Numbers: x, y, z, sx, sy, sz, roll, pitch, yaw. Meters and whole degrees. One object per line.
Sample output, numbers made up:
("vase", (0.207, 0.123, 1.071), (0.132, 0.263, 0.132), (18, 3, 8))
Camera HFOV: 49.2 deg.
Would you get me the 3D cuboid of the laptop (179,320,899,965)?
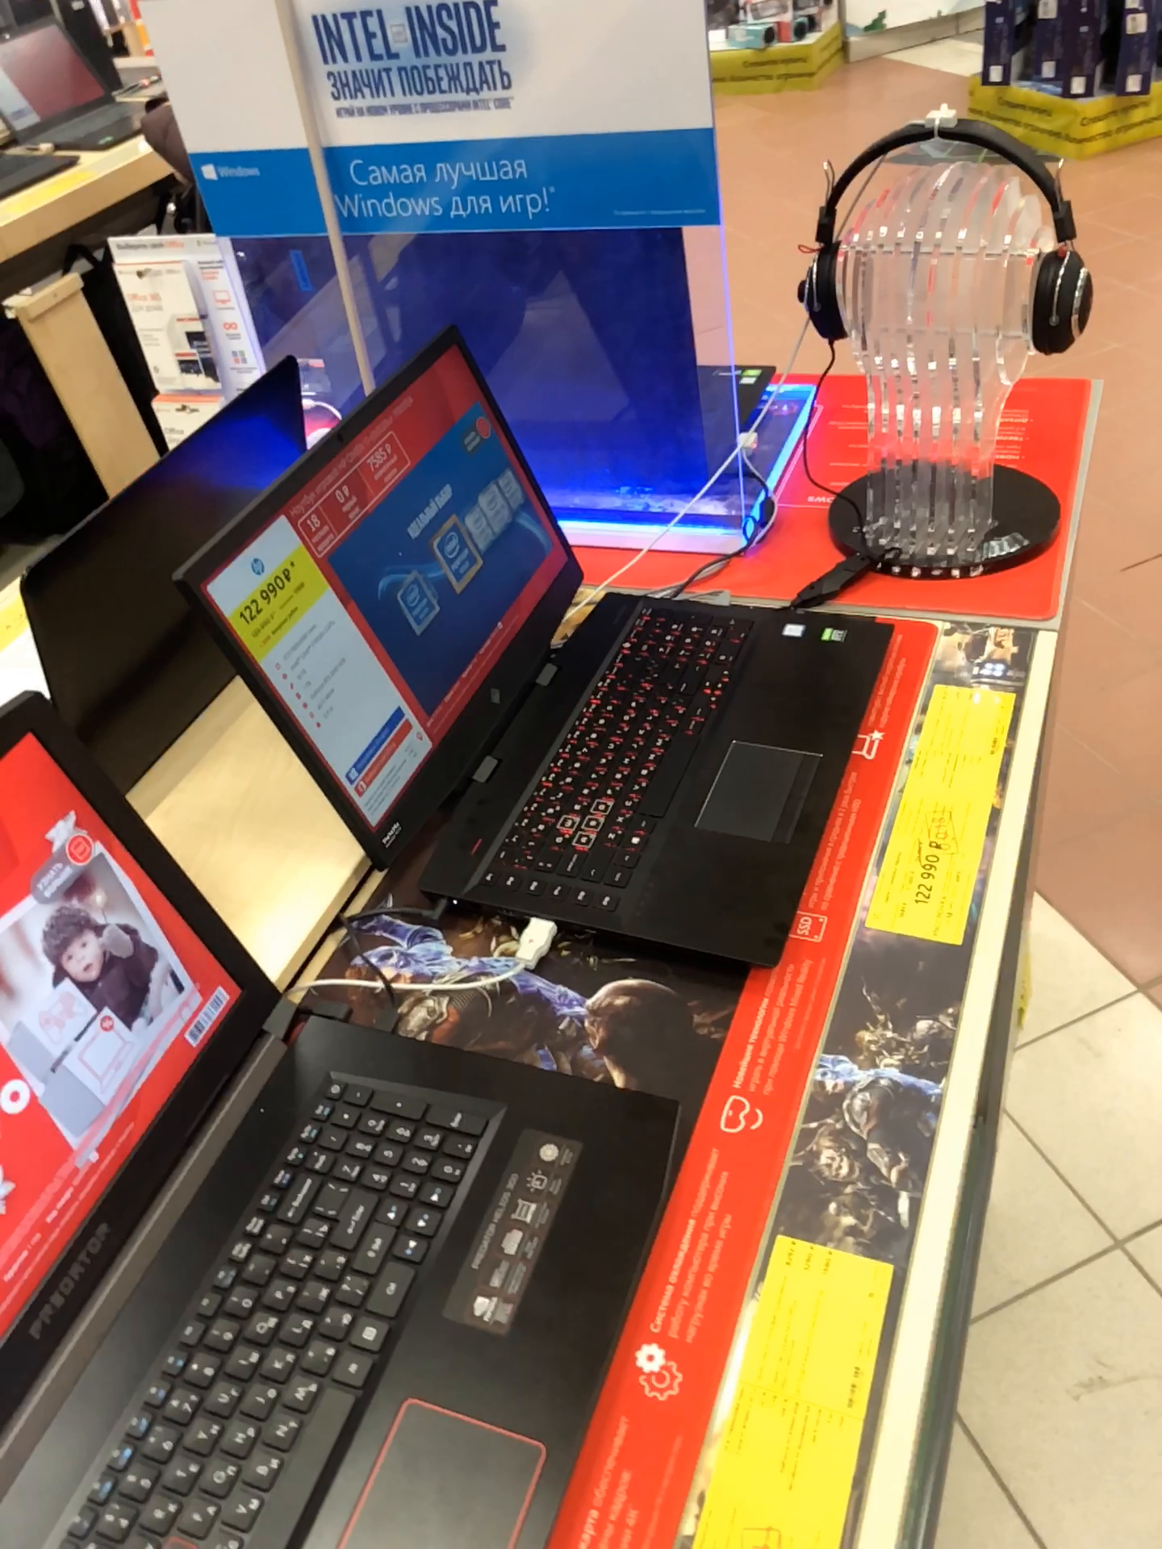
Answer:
("laptop", (0.008, -0.129, 0.946), (0.375, 0.246, 0.393), (10, 44, 20))
